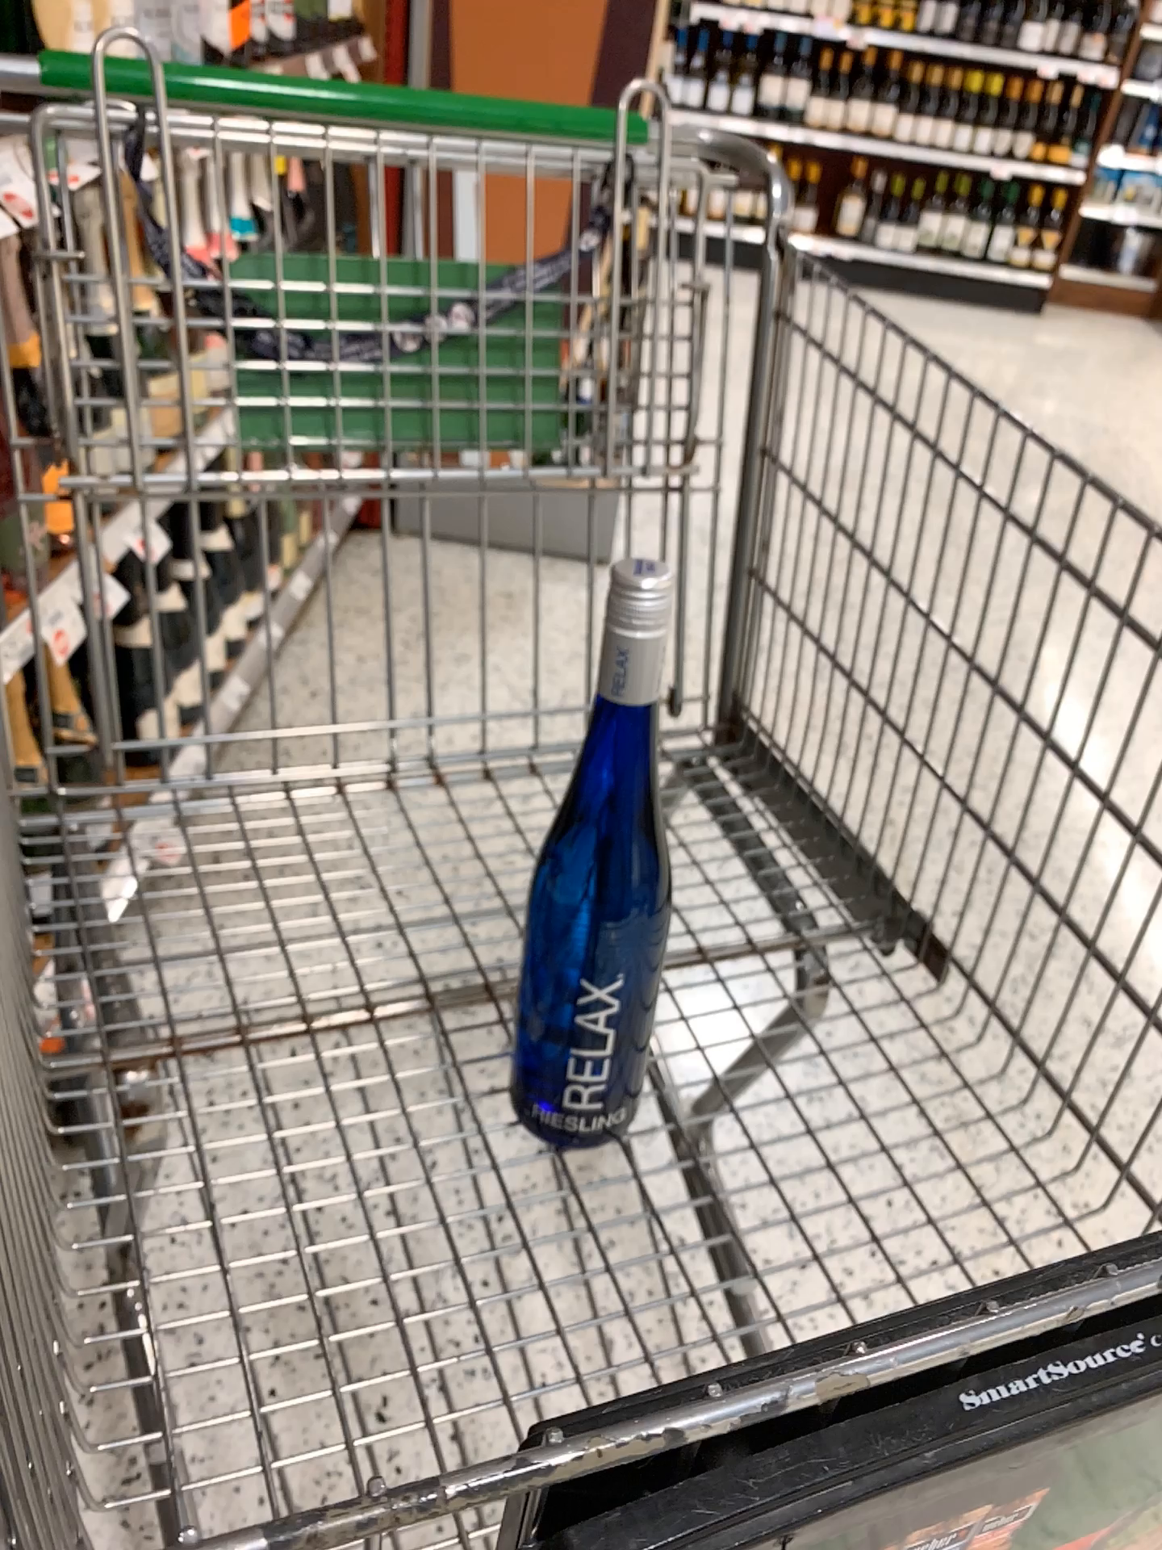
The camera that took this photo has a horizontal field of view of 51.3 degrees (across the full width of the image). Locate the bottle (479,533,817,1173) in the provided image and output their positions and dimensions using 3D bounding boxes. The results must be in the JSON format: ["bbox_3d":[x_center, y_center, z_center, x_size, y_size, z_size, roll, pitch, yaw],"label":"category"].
[{"bbox_3d":[0.018,0.046,0.587,0.090,0.307,0.091,6,33,-4],"label":"bottle"}]
